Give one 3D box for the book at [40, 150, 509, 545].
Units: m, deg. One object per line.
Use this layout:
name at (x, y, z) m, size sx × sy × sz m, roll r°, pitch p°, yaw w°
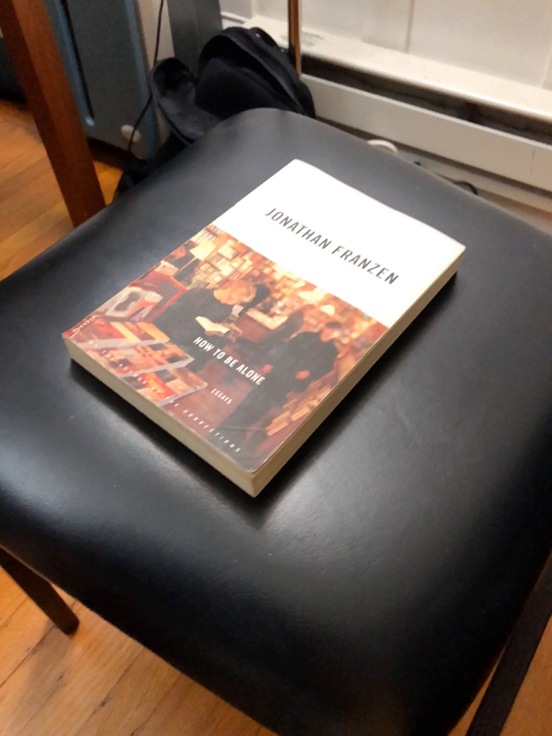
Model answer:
book at (0.008, -0.036, 0.368) m, size 0.160 × 0.040 × 0.231 m, roll 32°, pitch 59°, yaw 25°
